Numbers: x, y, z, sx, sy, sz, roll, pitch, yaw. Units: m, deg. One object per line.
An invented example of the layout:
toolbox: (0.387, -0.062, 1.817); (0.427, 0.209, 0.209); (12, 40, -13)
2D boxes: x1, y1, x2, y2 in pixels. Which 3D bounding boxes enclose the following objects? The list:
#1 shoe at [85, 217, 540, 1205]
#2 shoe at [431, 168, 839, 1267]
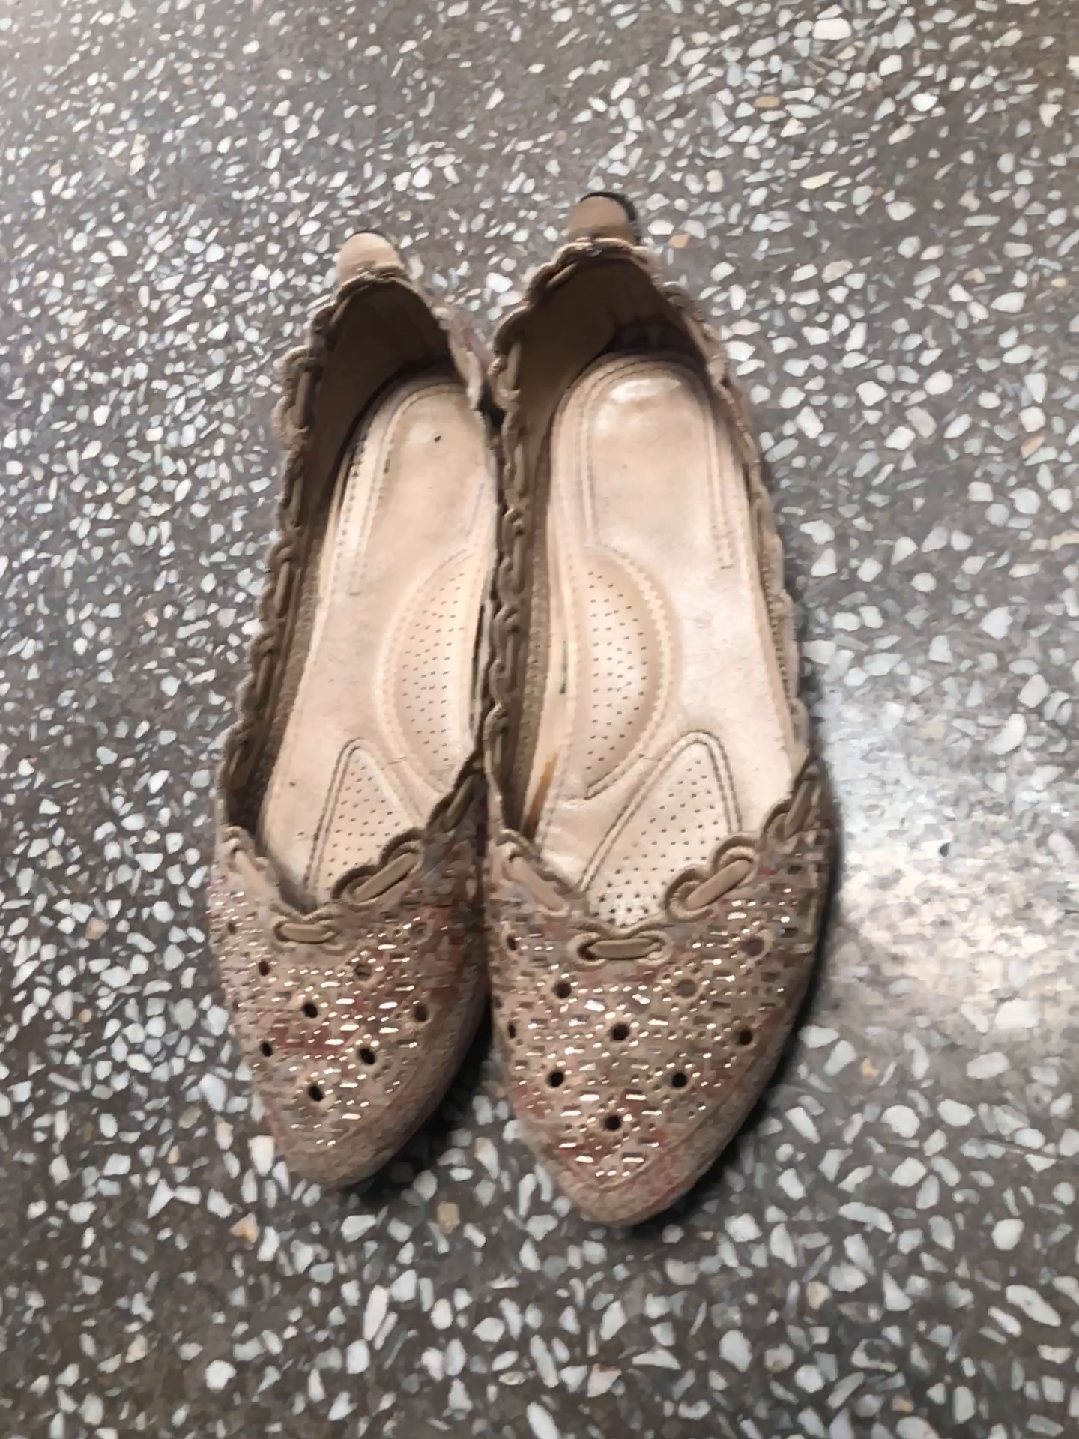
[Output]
shoe: (-0.058, -0.012, 0.354); (0.090, 0.040, 0.280); (-2, 71, 18)
shoe: (0.030, -0.009, 0.318); (0.090, 0.040, 0.270); (-2, 75, 18)
